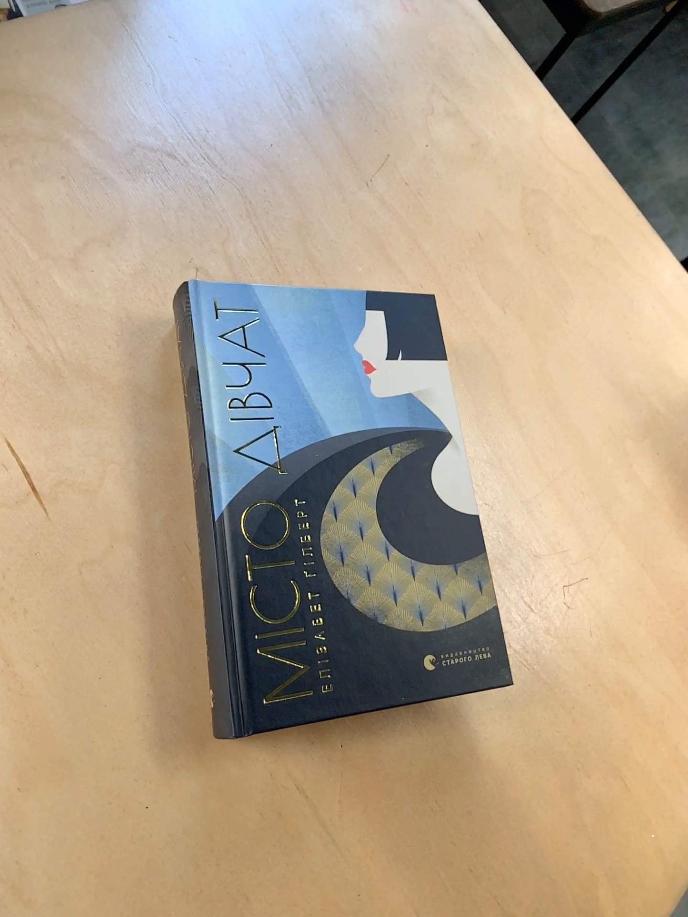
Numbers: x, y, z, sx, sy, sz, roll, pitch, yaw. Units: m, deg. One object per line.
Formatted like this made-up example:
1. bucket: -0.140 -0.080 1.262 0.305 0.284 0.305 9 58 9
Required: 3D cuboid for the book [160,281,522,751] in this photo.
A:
1. book: -0.006 0.017 0.335 0.135 0.043 0.197 -4 76 -22
